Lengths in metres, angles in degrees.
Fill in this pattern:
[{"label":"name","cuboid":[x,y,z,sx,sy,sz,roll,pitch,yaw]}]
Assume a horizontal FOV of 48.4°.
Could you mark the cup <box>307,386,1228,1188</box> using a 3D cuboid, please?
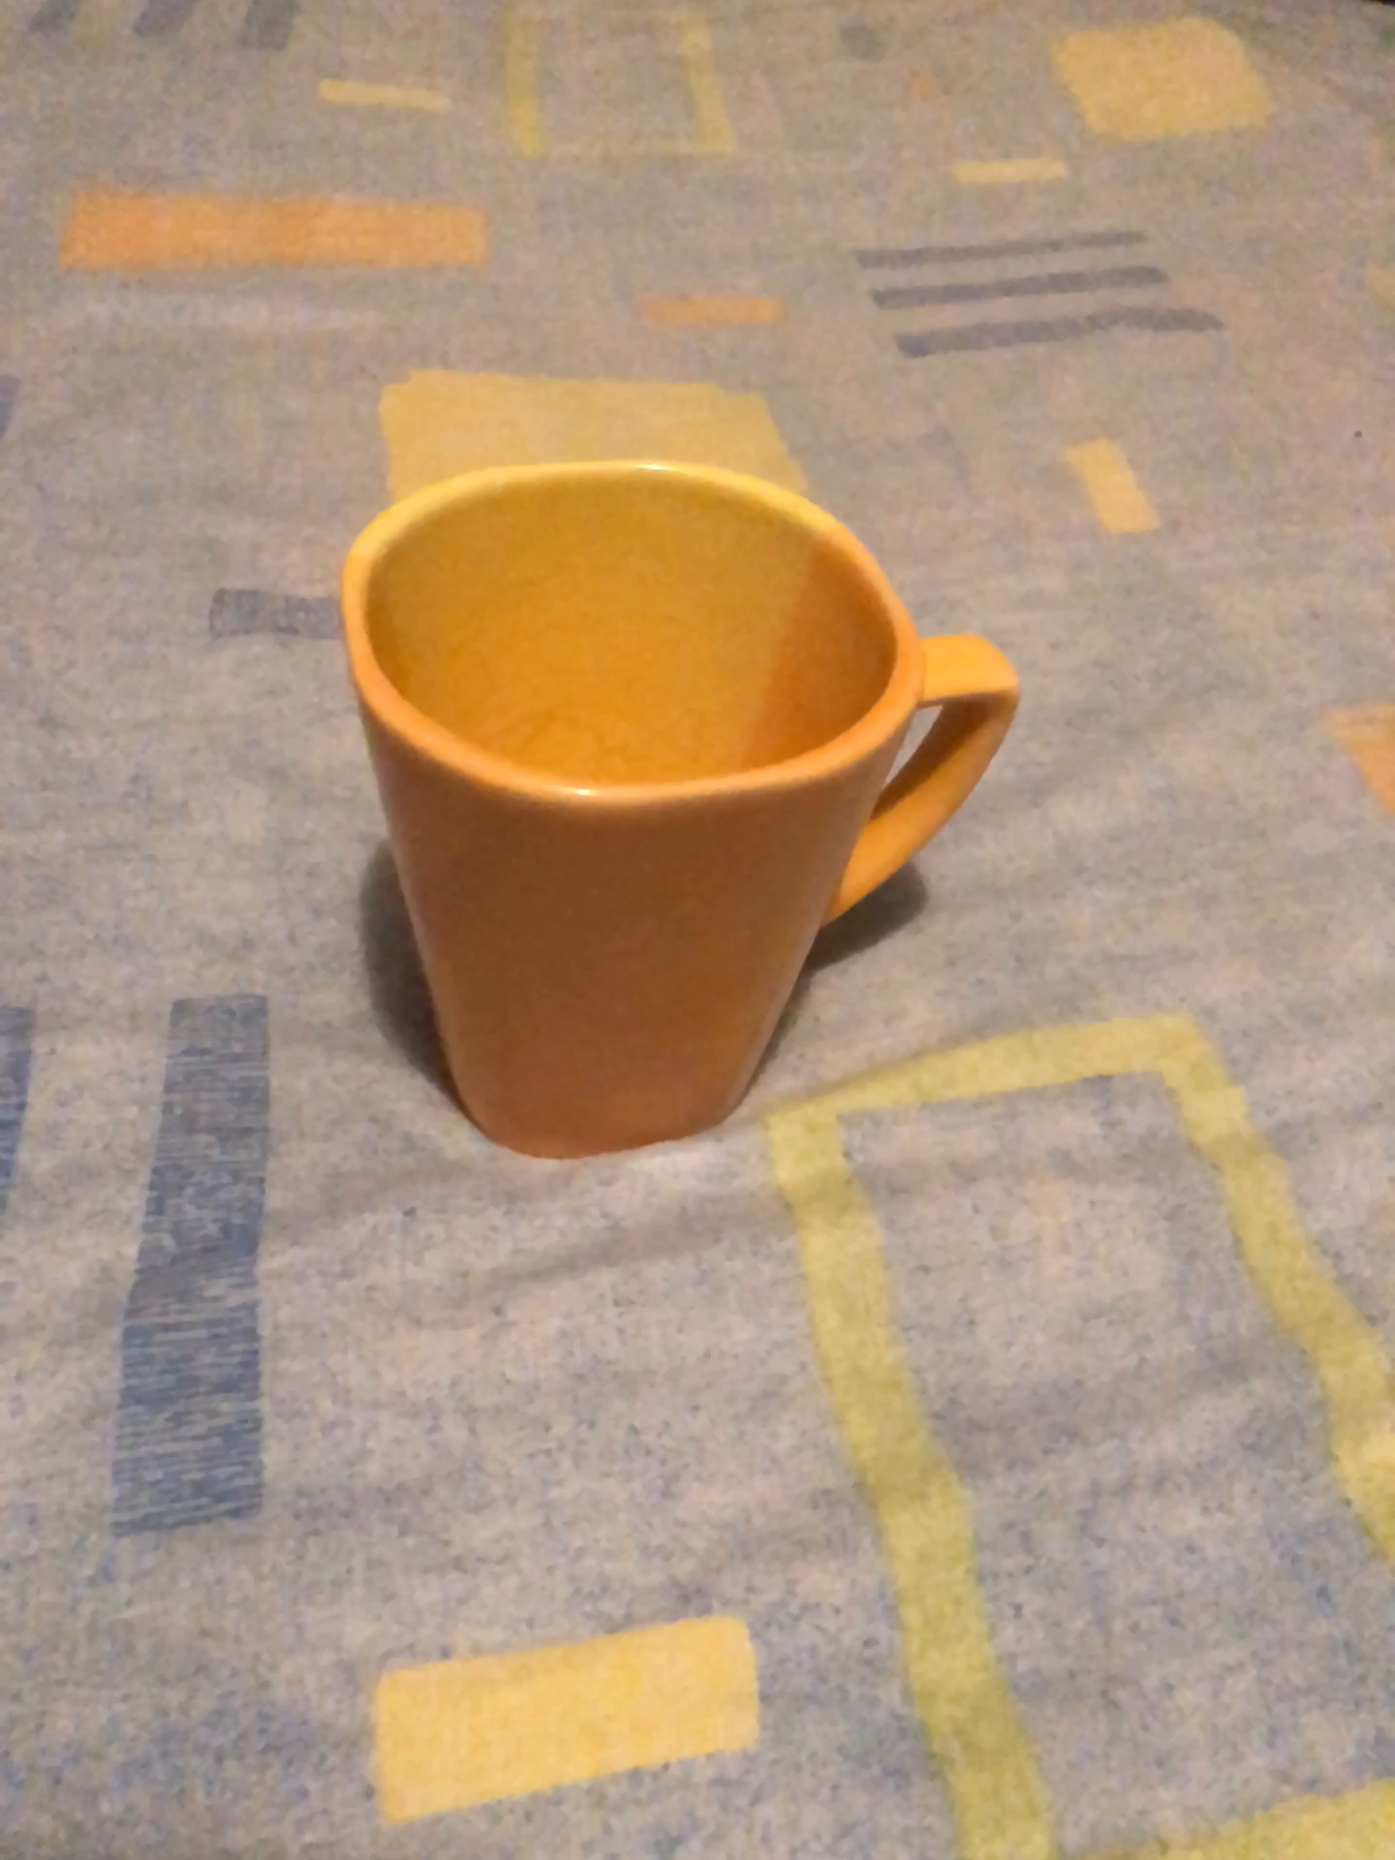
[{"label":"cup","cuboid":[0.002,-0.026,0.248,0.111,0.082,0.084,-7,49,-15]}]
